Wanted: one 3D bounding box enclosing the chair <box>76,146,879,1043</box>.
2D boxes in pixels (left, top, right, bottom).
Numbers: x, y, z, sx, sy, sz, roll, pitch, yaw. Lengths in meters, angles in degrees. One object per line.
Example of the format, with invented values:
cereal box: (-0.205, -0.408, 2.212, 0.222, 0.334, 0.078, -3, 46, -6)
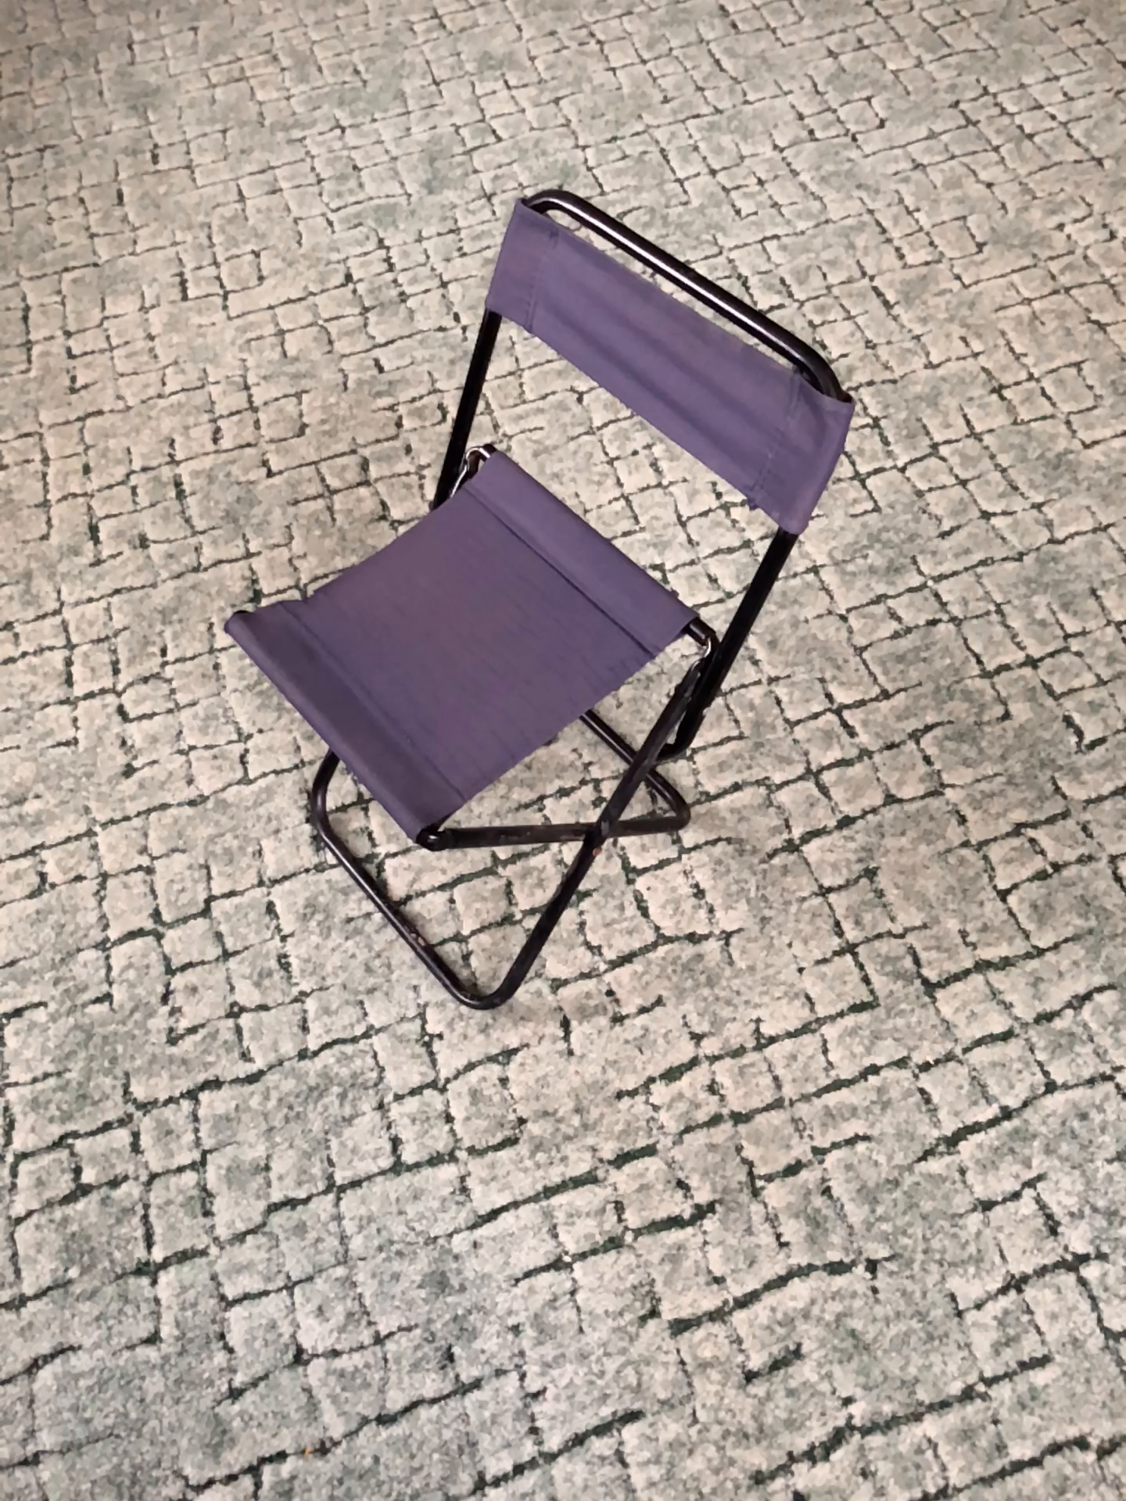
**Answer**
chair: (-0.045, -0.097, 1.029, 0.399, 0.537, 0.342, -37, 63, -18)
